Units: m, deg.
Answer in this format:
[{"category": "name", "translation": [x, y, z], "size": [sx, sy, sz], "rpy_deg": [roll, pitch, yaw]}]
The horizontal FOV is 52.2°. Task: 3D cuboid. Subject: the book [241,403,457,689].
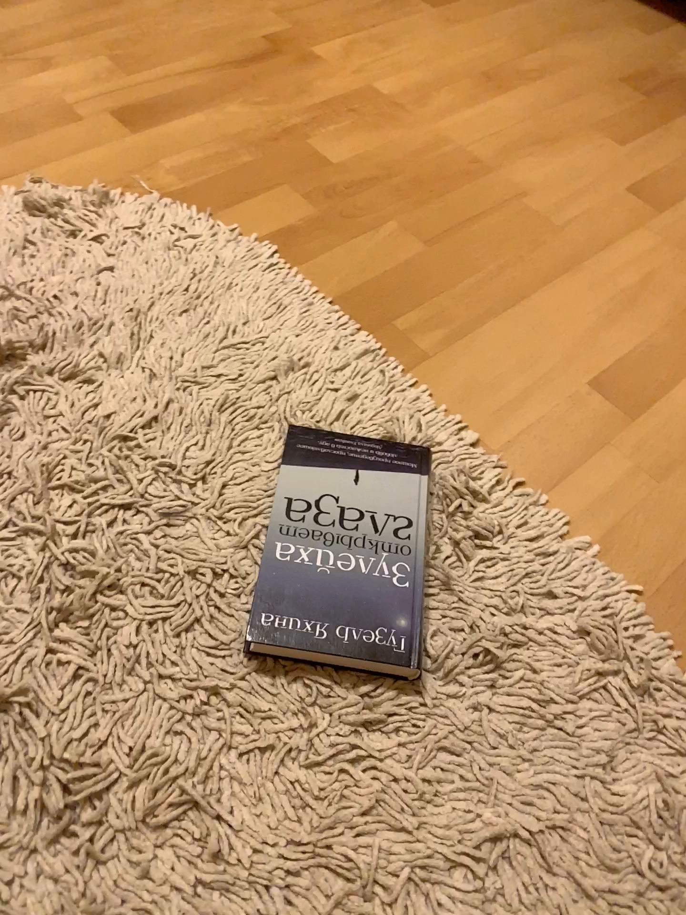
[{"category": "book", "translation": [0.013, 0.063, 0.574], "size": [0.150, 0.040, 0.222], "rpy_deg": [8, 54, -1]}]
